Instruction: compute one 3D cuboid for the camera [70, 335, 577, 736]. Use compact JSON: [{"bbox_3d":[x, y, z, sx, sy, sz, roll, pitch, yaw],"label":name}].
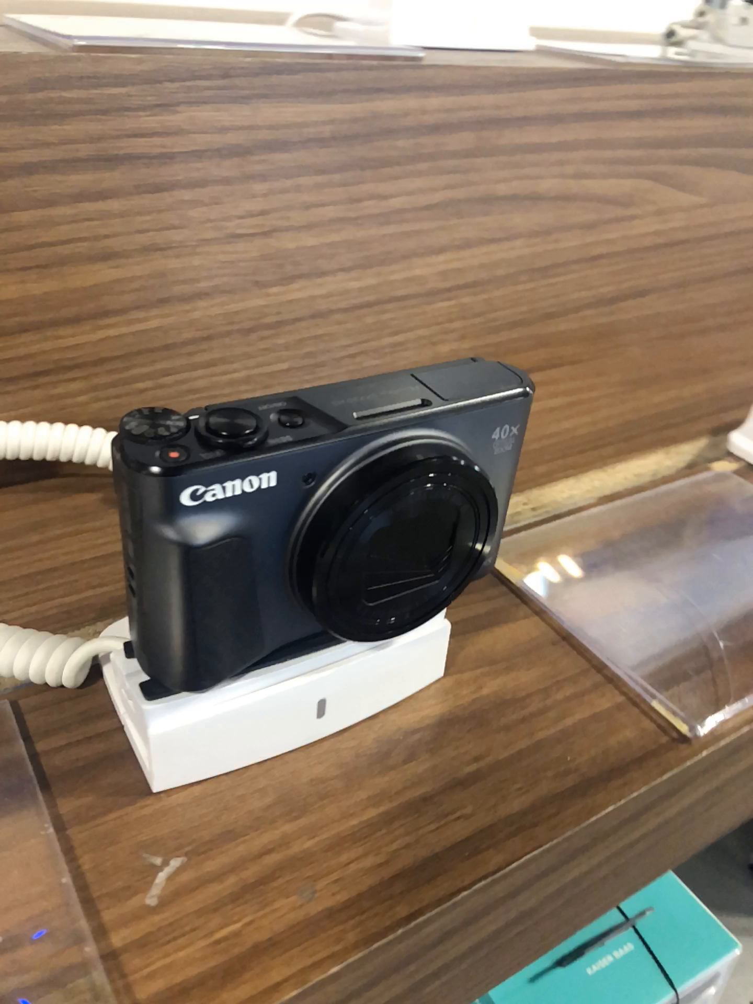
[{"bbox_3d":[-0.011,0.003,0.205,0.109,0.063,0.037,-15,40,-29],"label":"camera"}]
